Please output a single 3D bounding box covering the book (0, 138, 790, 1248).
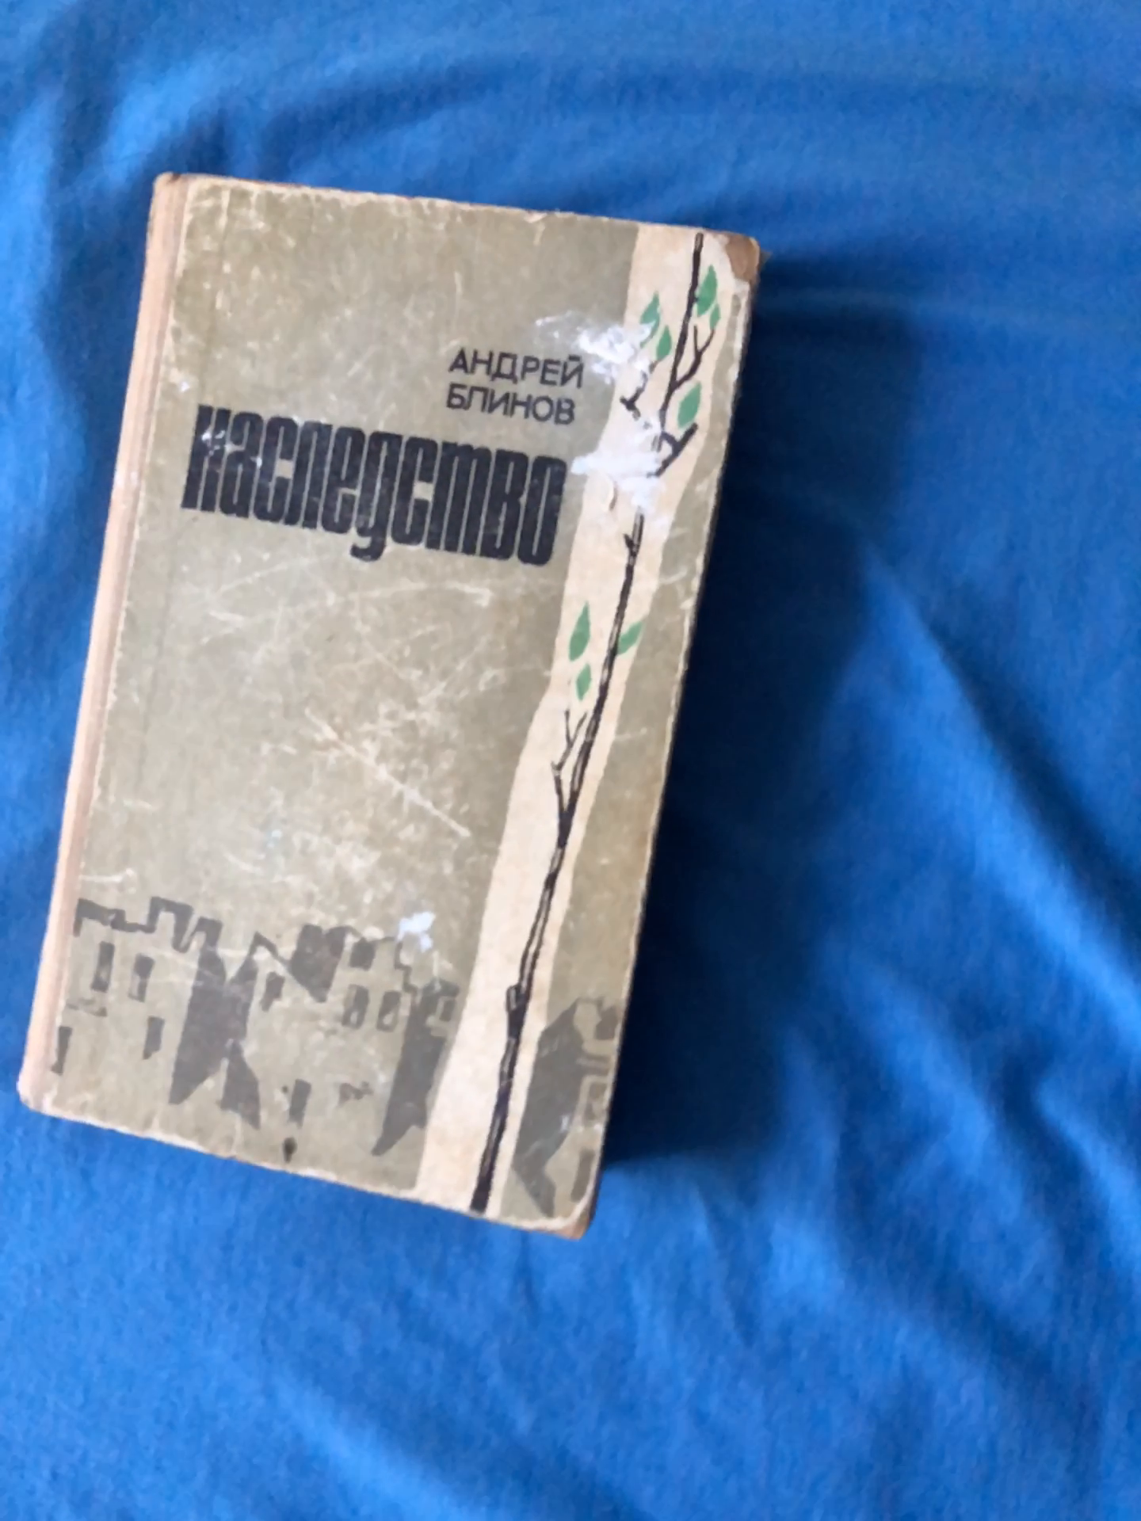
[{"bbox_3d":[-0.038,-0.016,0.275,0.130,0.040,0.200,11,91,6],"label":"book"}]
